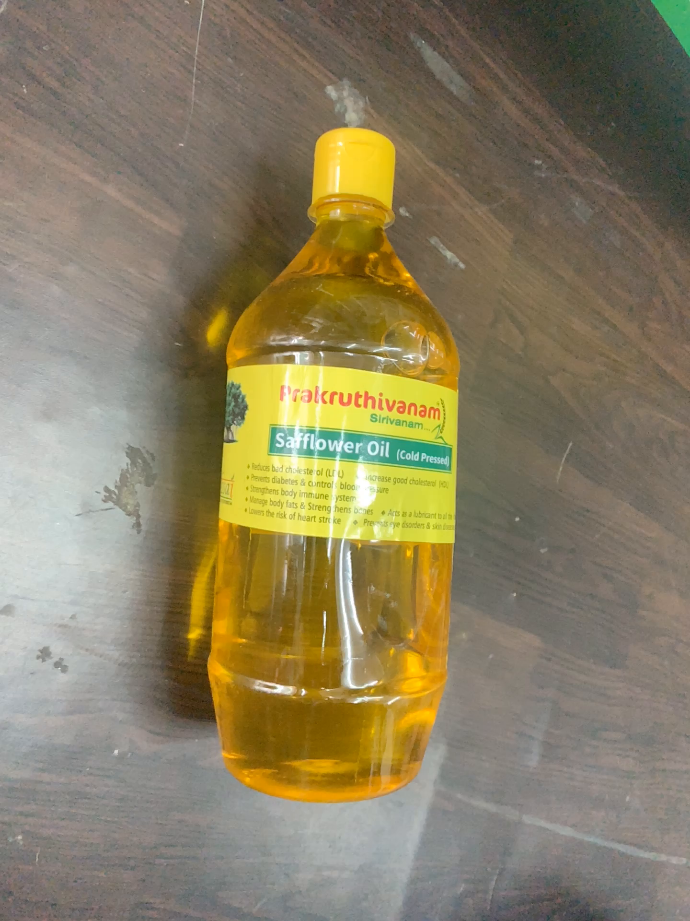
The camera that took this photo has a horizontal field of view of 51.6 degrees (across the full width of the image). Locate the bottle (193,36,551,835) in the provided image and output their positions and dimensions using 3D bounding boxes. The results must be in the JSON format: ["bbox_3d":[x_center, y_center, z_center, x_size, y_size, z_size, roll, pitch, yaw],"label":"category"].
[{"bbox_3d":[0.004,-0.005,0.257,0.090,0.080,0.230,4,89,-18],"label":"bottle"}]
